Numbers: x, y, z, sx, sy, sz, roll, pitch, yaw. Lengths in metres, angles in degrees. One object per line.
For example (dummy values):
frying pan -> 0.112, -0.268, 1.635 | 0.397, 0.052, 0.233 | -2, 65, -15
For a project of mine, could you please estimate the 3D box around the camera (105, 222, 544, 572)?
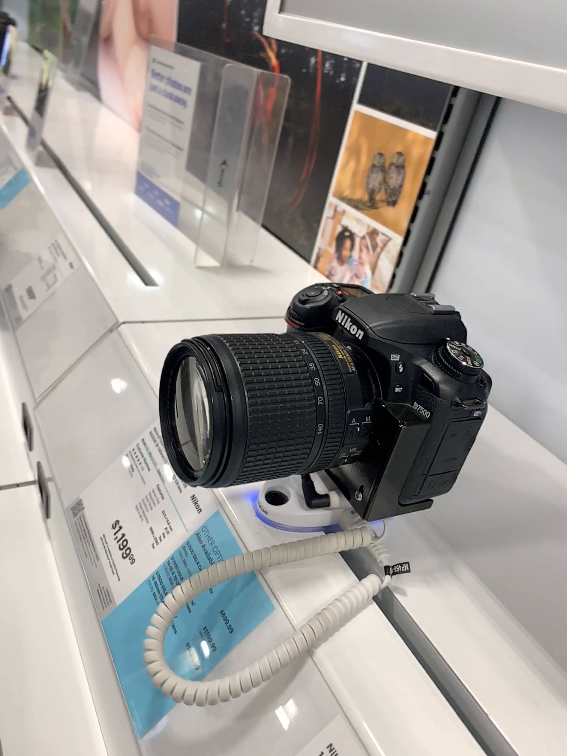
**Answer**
camera -> 0.016, -0.001, 0.319 | 0.172, 0.107, 0.131 | -2, 32, -36
